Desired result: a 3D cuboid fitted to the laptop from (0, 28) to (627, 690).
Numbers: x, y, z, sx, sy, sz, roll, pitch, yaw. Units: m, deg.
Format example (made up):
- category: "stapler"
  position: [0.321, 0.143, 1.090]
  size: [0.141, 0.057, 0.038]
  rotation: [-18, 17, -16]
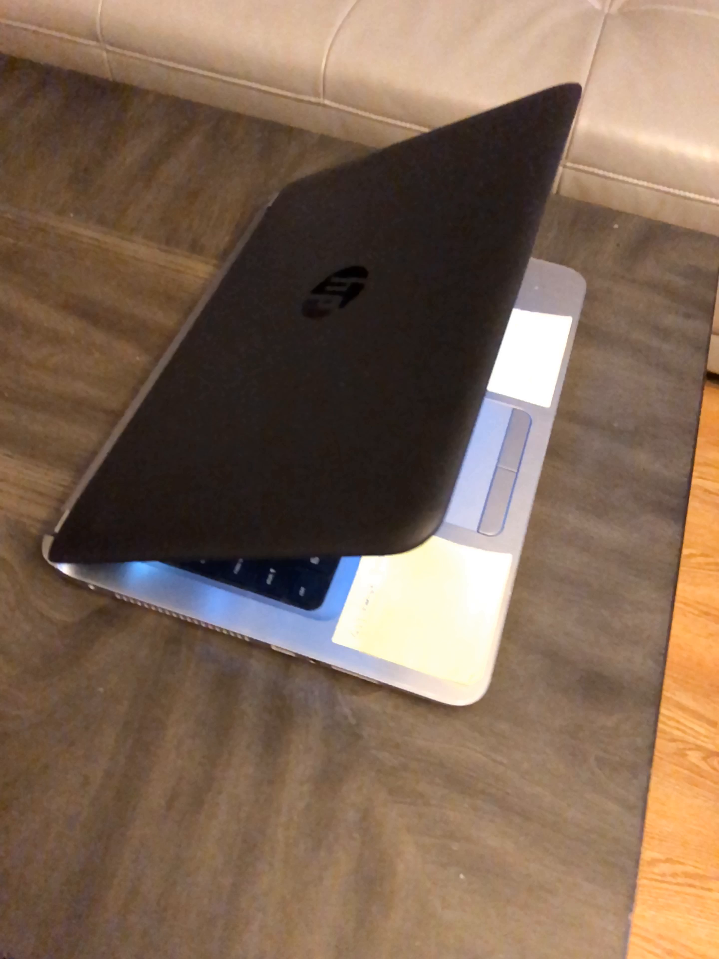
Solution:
- category: "laptop"
  position: [-0.001, -0.091, 0.438]
  size: [0.226, 0.131, 0.325]
  rotation: [16, 54, 8]
